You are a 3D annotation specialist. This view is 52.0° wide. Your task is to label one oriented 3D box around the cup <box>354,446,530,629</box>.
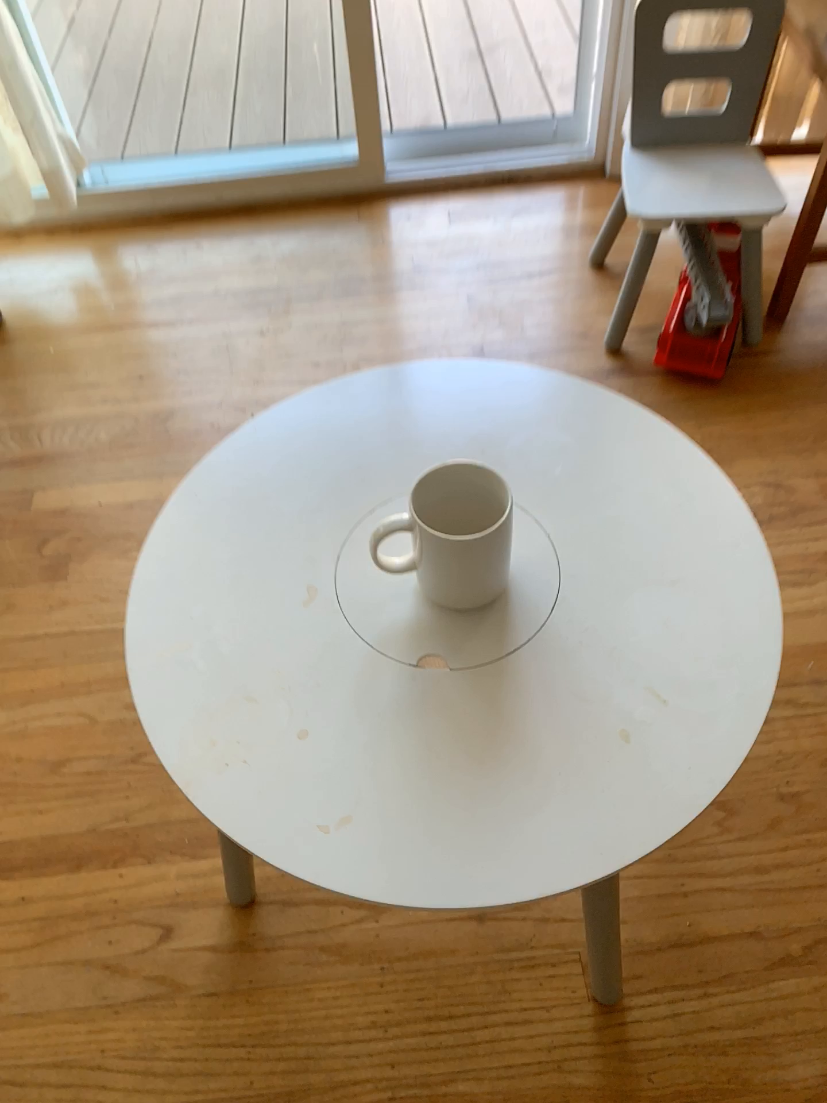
[{"bbox_3d":[0.023,-0.012,0.734,0.130,0.090,0.110,-8,53,-2],"label":"cup"}]
